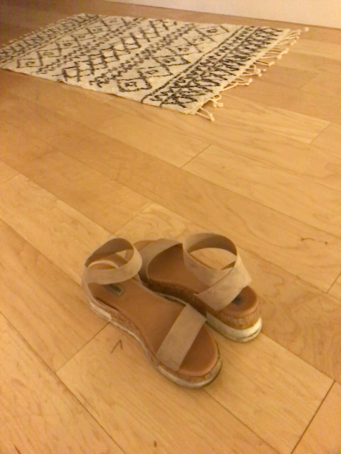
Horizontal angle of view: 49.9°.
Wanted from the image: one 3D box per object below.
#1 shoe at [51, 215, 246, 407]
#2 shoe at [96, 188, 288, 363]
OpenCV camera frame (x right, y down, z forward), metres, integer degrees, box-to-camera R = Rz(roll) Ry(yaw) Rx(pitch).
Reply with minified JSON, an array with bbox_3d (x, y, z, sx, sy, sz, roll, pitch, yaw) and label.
[{"bbox_3d":[-0.038,0.109,0.547,0.281,0.109,0.110,30,56,33],"label":"shoe"},{"bbox_3d":[0.026,0.063,0.586,0.281,0.119,0.110,29,56,33],"label":"shoe"}]
